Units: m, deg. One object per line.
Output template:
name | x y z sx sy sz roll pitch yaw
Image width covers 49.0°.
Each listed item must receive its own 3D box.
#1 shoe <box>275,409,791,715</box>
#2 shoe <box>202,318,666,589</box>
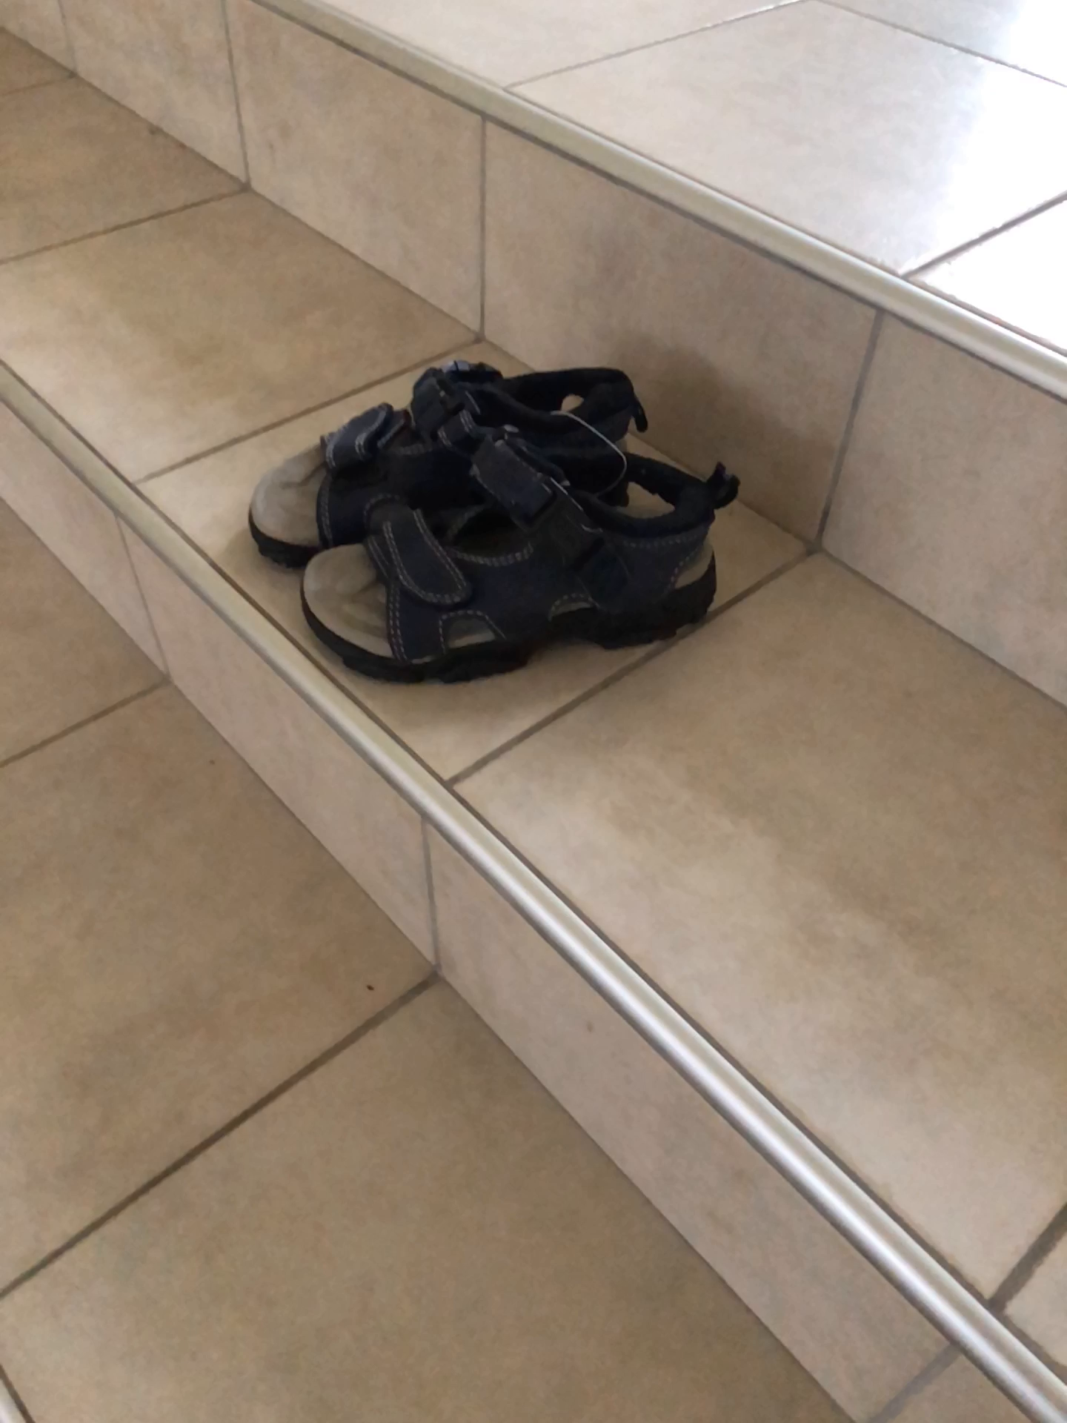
shoe | -0.006 -0.077 0.583 0.230 0.089 0.100 -6 47 -8
shoe | -0.055 -0.144 0.645 0.230 0.089 0.100 -6 47 -8
